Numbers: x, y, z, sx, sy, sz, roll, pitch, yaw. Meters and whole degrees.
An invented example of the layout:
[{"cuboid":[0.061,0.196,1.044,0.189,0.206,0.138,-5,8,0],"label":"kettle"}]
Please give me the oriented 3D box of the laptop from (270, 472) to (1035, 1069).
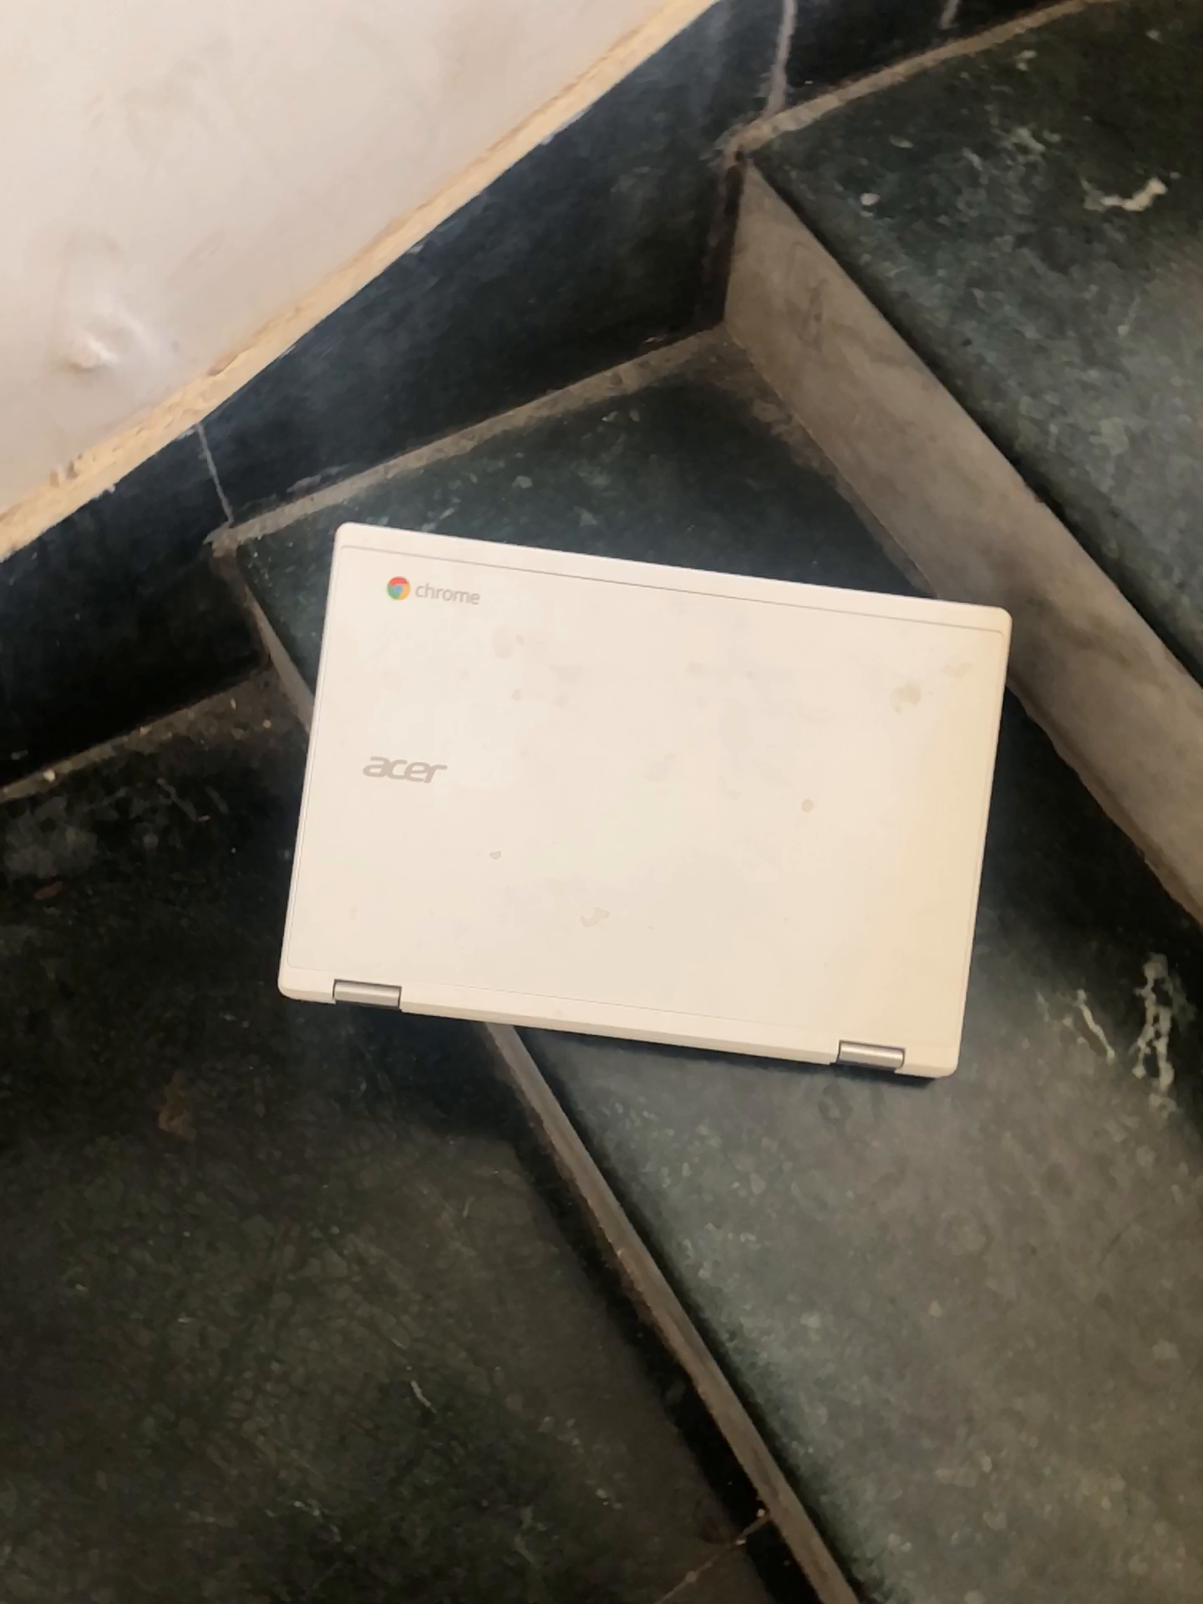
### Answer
[{"cuboid":[0.024,-0.010,0.557,0.282,0.091,0.190,7,69,-3],"label":"laptop"}]
